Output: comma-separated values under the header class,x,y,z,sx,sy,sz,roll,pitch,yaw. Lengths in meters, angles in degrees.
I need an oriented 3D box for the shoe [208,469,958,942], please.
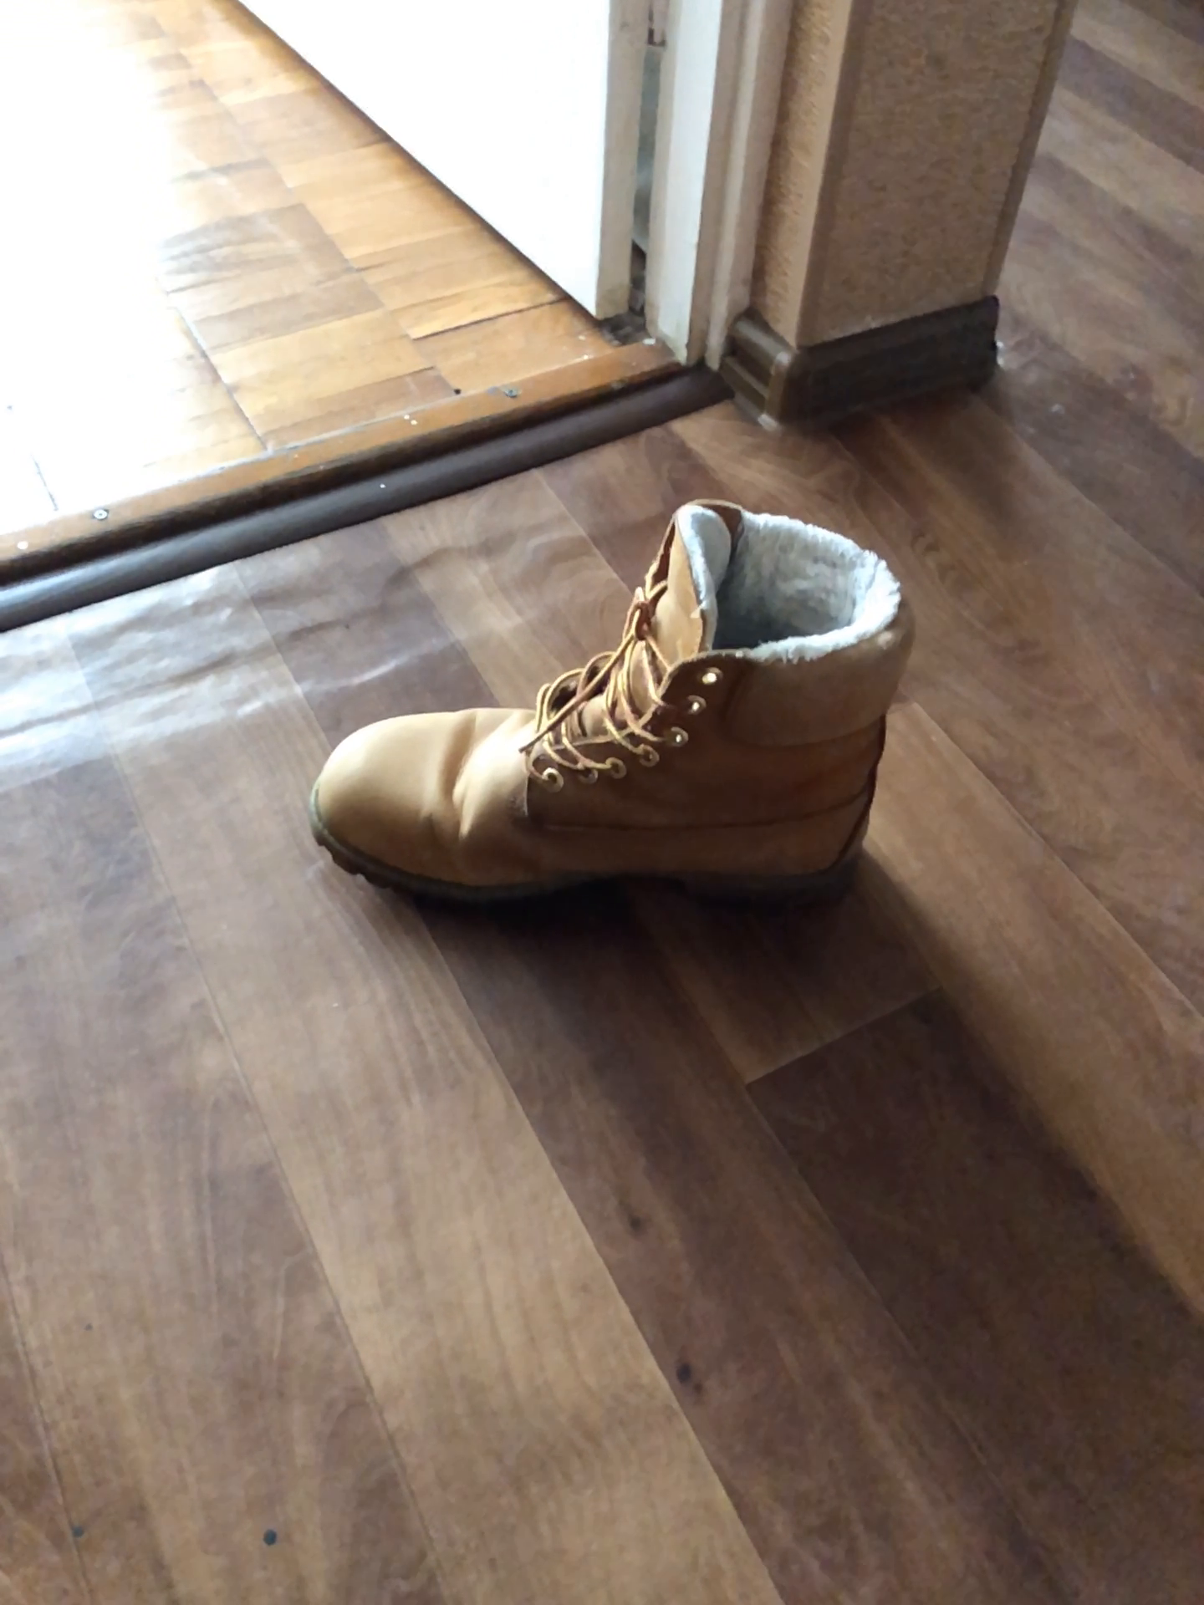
class,x,y,z,sx,sy,sz,roll,pitch,yaw
shoe,-0.009,-0.039,0.617,0.290,0.179,0.121,2,51,-1
